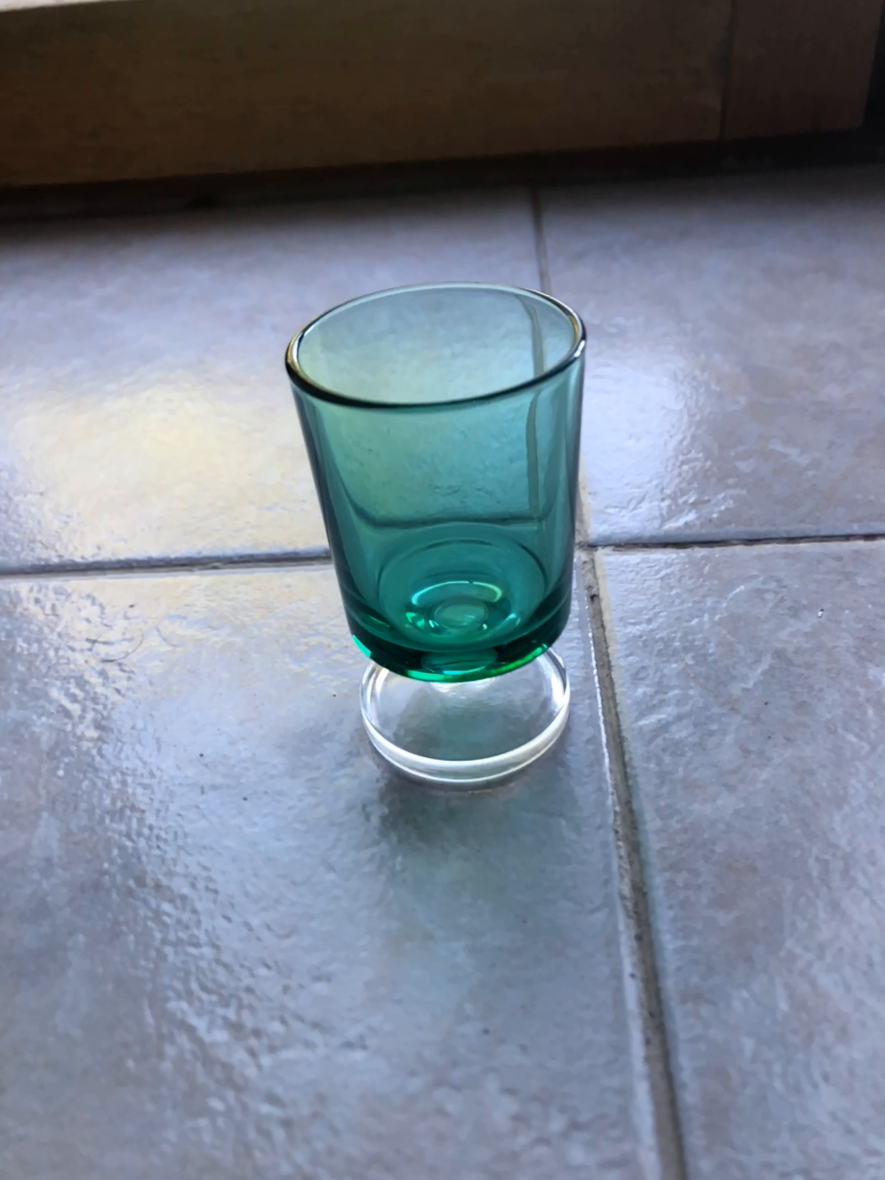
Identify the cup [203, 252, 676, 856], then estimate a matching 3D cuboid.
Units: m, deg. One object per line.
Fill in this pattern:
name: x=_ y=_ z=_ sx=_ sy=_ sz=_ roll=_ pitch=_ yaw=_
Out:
cup: x=0.001 y=-0.006 z=0.151 sx=0.045 sy=0.068 sz=0.044 roll=-3 pitch=40 yaw=3
